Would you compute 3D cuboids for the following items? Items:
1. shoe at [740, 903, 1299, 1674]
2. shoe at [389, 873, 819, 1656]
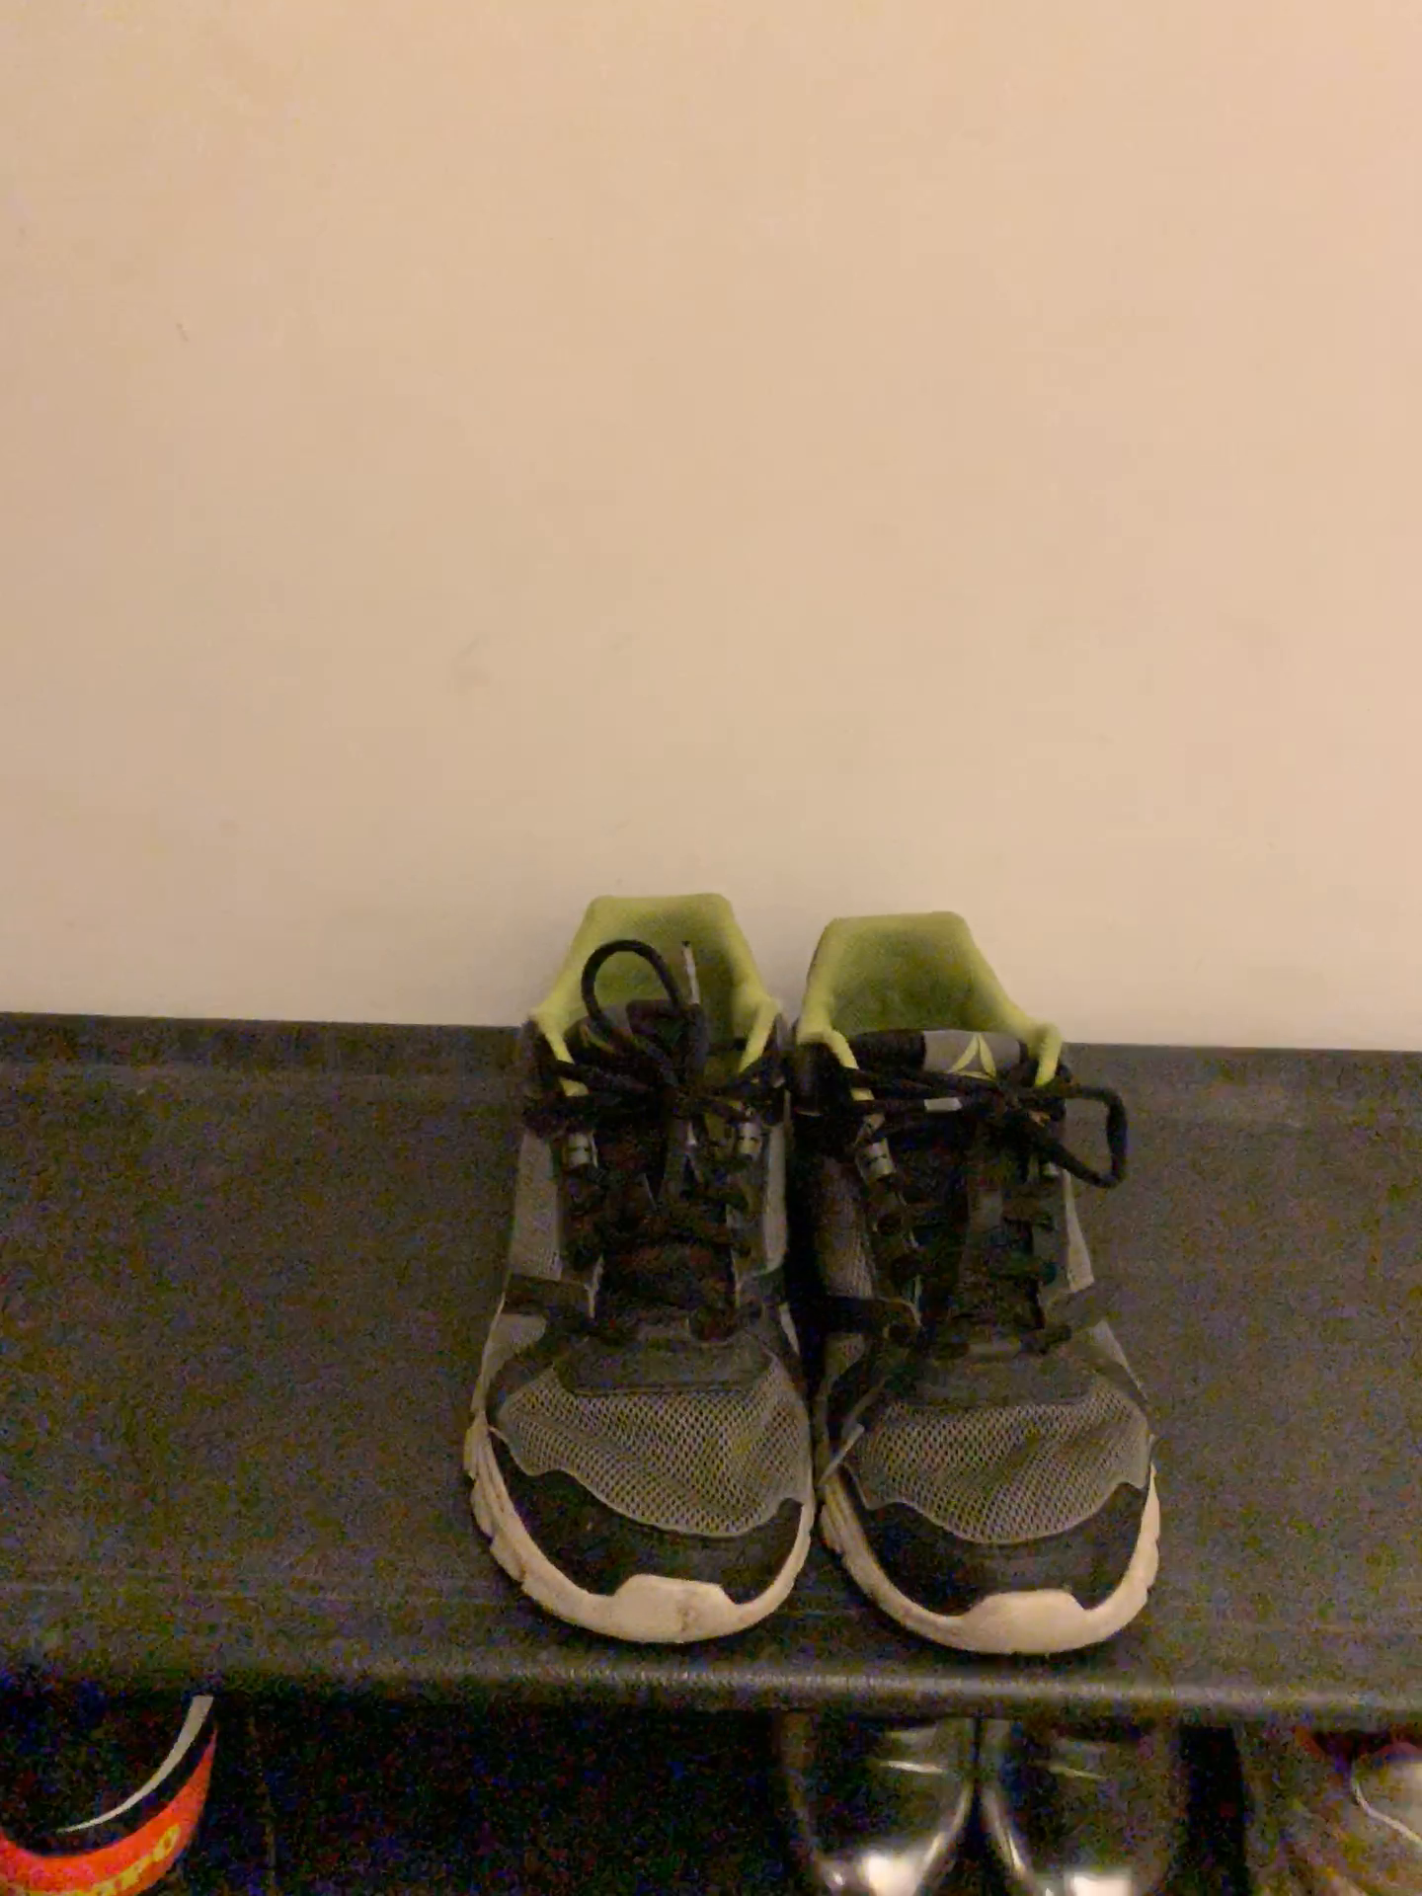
[{"bbox_3d":[0.073,0.082,0.460,0.110,0.069,0.262,0,32,-3],"label":"shoe"},{"bbox_3d":[-0.027,0.081,0.475,0.100,0.099,0.252,1,31,-1],"label":"shoe"}]
